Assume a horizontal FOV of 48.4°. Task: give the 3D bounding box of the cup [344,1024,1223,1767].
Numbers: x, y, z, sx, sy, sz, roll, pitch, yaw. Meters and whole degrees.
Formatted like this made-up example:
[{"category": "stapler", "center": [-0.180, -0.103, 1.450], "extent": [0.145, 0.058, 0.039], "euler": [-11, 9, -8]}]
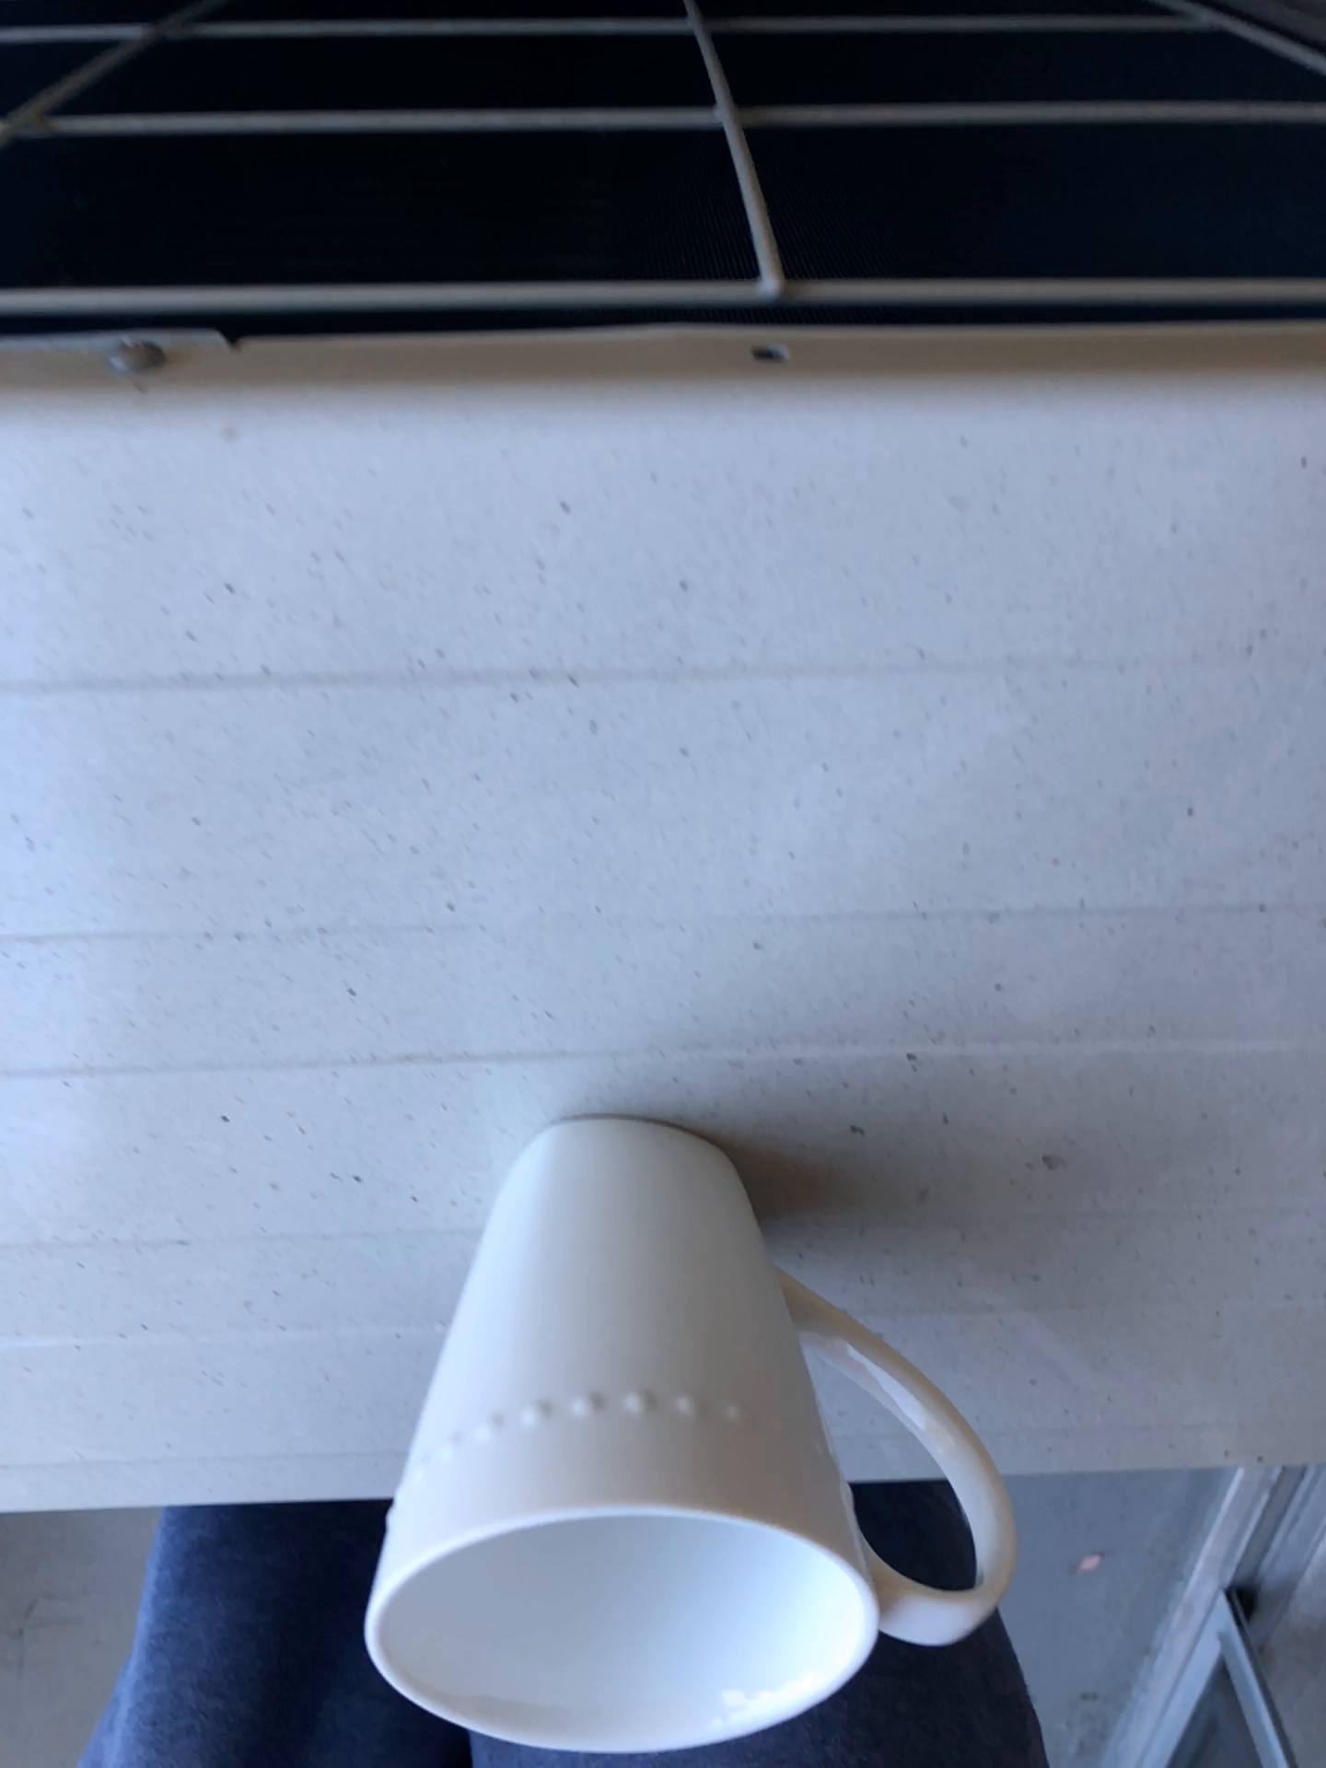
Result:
[{"category": "cup", "center": [0.013, 0.107, 0.306], "extent": [0.140, 0.099, 0.101], "euler": [7, 126, -9]}]
